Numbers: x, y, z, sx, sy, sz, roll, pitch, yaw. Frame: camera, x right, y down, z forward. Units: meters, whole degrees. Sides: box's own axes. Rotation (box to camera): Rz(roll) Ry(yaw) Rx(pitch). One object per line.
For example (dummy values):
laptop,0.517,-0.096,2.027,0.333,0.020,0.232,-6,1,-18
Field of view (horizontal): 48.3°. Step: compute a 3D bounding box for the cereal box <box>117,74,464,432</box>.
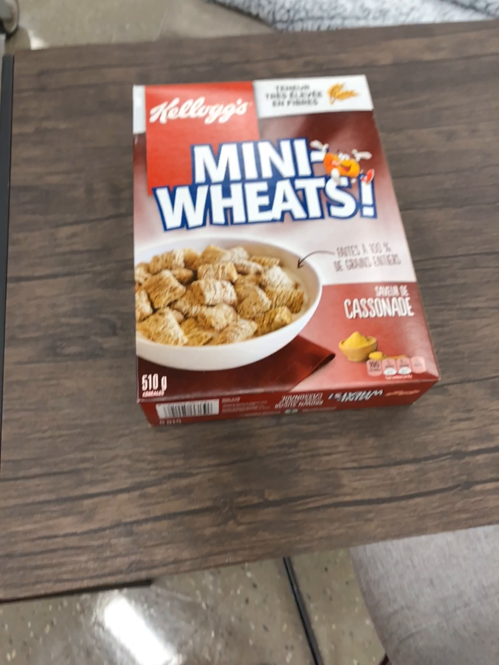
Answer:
cereal box,0.013,-0.070,0.414,0.210,0.060,0.260,-4,66,-4
